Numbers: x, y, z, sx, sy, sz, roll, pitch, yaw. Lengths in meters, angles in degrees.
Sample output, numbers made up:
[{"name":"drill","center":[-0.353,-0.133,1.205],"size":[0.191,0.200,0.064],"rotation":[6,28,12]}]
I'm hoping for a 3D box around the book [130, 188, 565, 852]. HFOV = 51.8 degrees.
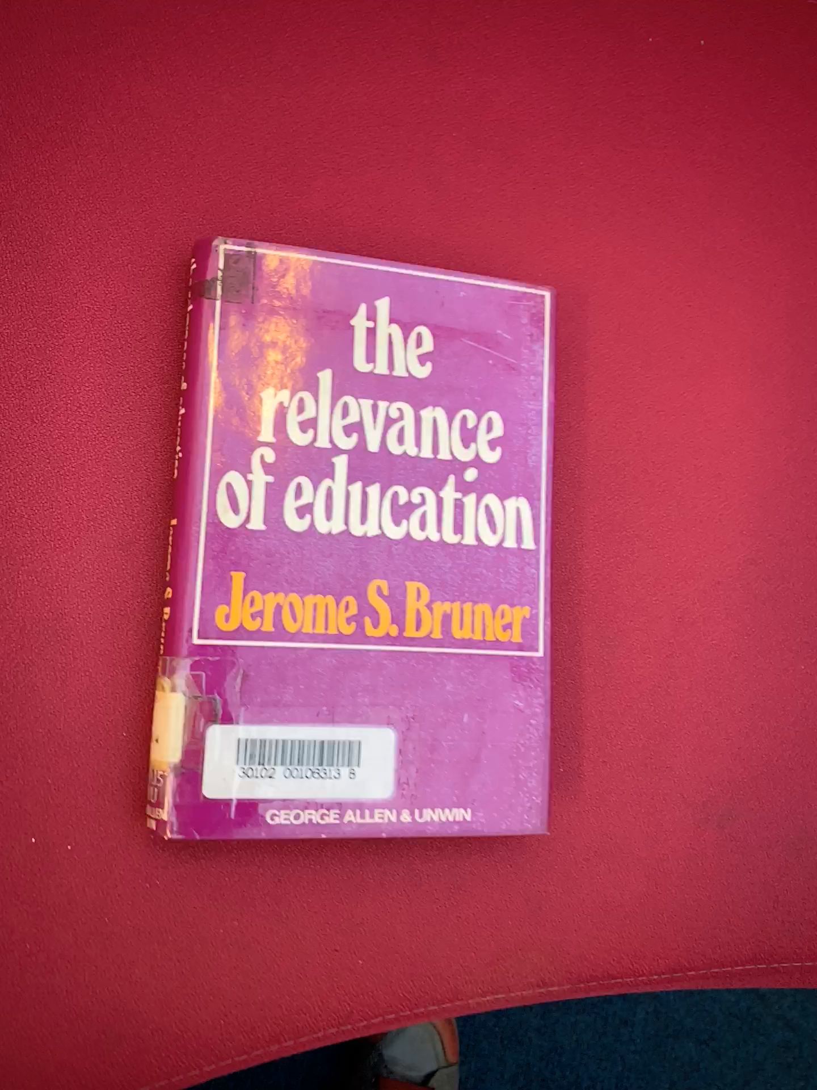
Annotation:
[{"name":"book","center":[-0.019,-0.007,0.326],"size":[0.150,0.040,0.230],"rotation":[4,83,-14]}]
